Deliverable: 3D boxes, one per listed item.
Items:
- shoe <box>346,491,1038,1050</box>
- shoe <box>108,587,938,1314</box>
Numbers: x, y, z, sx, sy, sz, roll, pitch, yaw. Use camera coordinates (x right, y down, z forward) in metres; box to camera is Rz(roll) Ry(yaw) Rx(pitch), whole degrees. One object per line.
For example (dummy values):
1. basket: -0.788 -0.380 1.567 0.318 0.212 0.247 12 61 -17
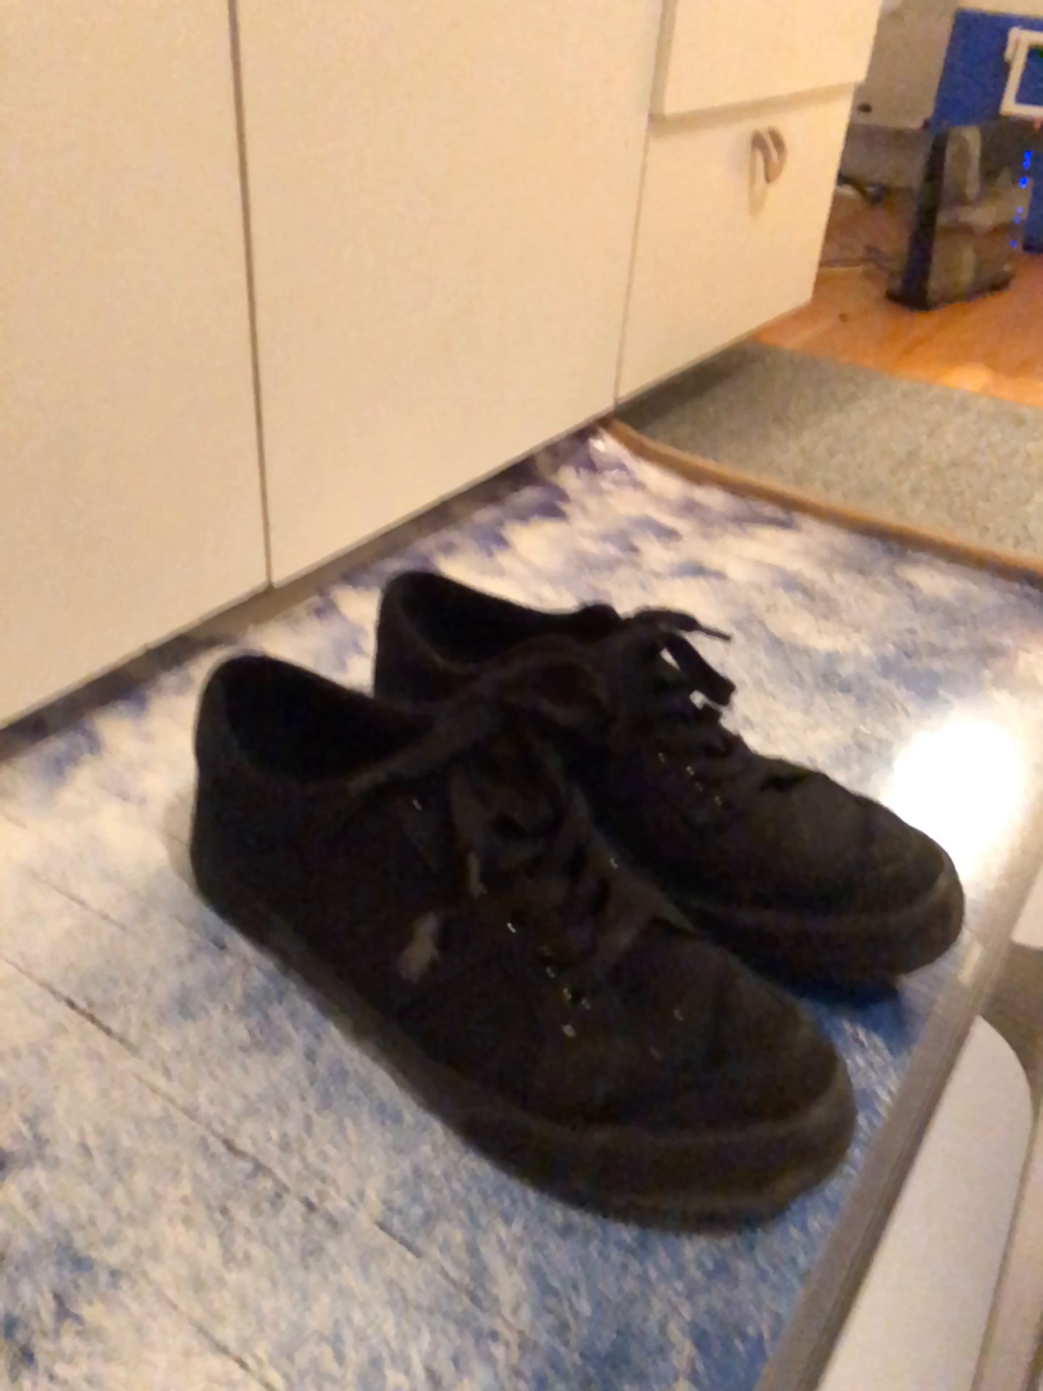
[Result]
1. shoe: 0.060 0.016 0.496 0.261 0.109 0.111 24 38 27
2. shoe: -0.011 0.072 0.421 0.271 0.109 0.111 24 38 27
